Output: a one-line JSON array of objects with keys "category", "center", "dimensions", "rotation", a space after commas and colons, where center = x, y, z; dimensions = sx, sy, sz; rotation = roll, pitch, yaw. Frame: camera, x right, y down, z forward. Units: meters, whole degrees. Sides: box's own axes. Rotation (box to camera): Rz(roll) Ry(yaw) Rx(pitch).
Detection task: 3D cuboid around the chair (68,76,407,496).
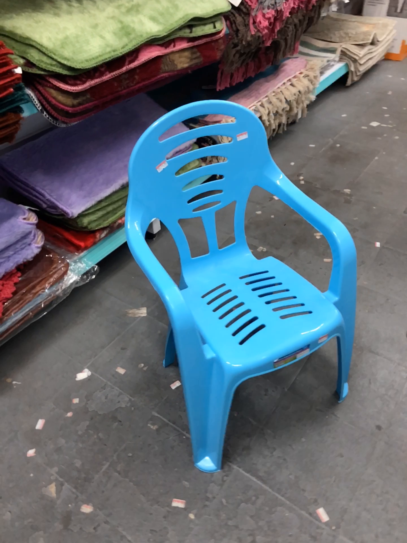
[{"category": "chair", "center": [0.064, 0.011, 0.795], "dimensions": [0.401, 0.516, 0.392], "rotation": [-20, 44, -20]}]
